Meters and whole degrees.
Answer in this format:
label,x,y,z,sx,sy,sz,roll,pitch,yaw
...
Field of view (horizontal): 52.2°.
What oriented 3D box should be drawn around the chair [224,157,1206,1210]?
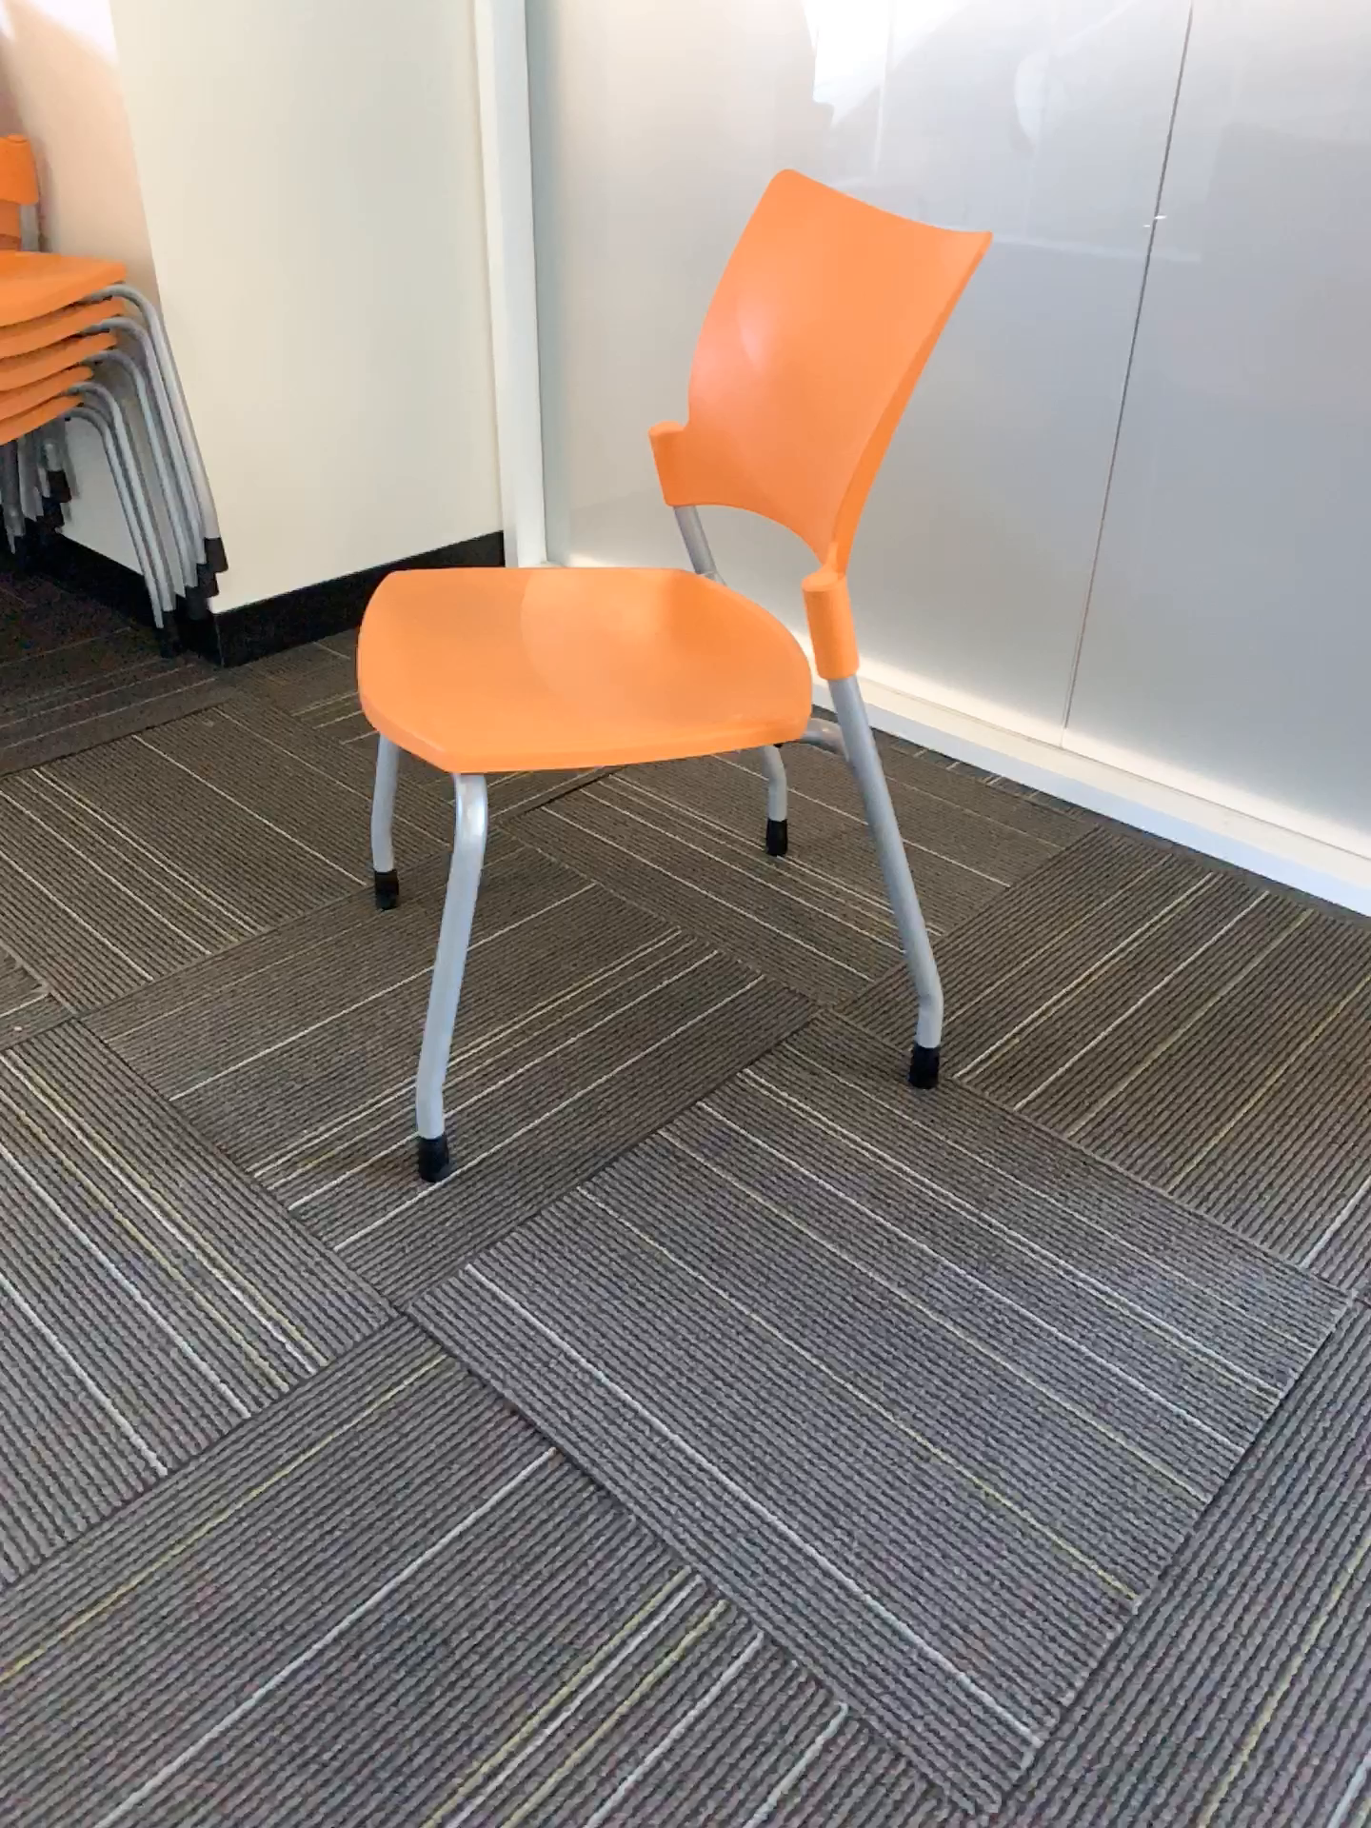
label,x,y,z,sx,sy,sz,roll,pitch,yaw
chair,-0.047,-0.291,1.441,0.680,0.795,0.684,-9,34,-15
